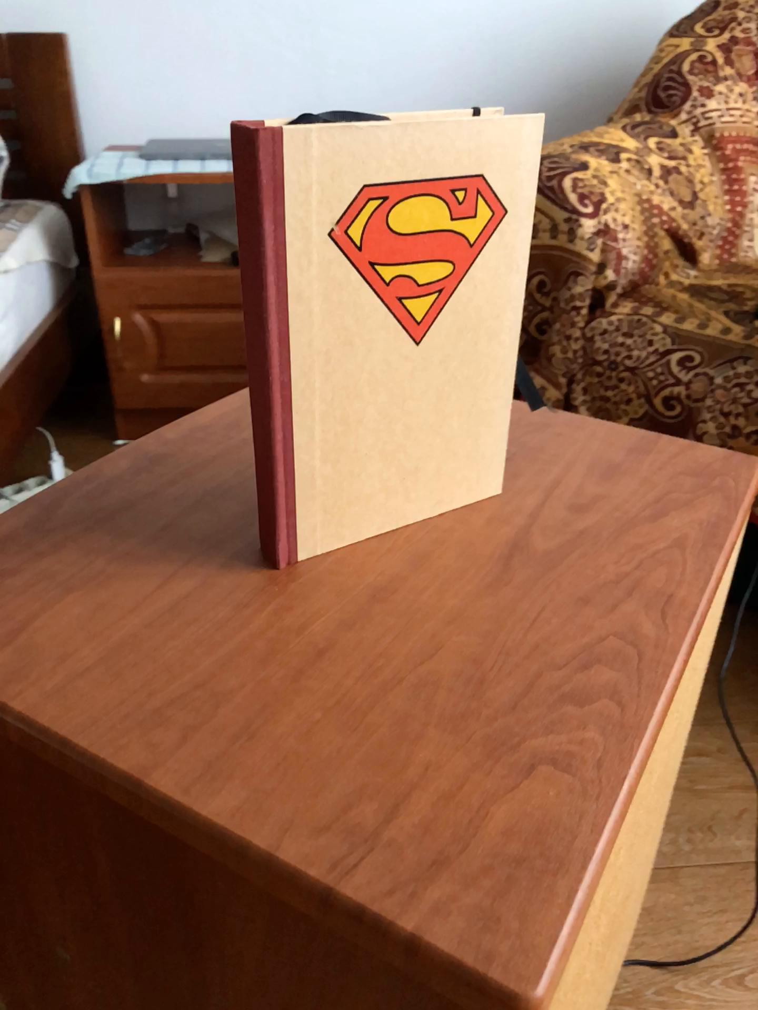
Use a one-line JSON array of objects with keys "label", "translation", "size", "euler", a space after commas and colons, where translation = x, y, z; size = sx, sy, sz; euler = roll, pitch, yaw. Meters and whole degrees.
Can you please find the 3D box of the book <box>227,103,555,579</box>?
[{"label": "book", "translation": [0.009, -0.082, 0.421], "size": [0.155, 0.212, 0.032], "euler": [-18, 35, -30]}]
